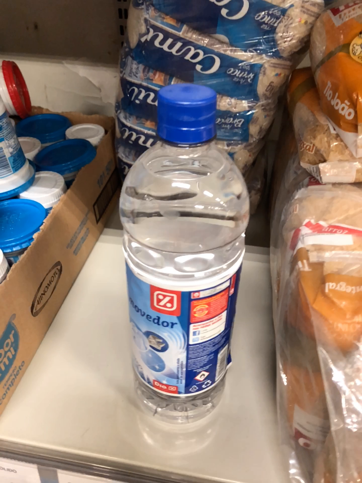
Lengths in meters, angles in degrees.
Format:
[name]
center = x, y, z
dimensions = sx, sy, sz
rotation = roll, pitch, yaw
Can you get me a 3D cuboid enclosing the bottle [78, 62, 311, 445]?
[bottle]
center = 0.003, 0.029, 0.276
dimensions = 0.090, 0.258, 0.081
rotation = -13, 42, -13
